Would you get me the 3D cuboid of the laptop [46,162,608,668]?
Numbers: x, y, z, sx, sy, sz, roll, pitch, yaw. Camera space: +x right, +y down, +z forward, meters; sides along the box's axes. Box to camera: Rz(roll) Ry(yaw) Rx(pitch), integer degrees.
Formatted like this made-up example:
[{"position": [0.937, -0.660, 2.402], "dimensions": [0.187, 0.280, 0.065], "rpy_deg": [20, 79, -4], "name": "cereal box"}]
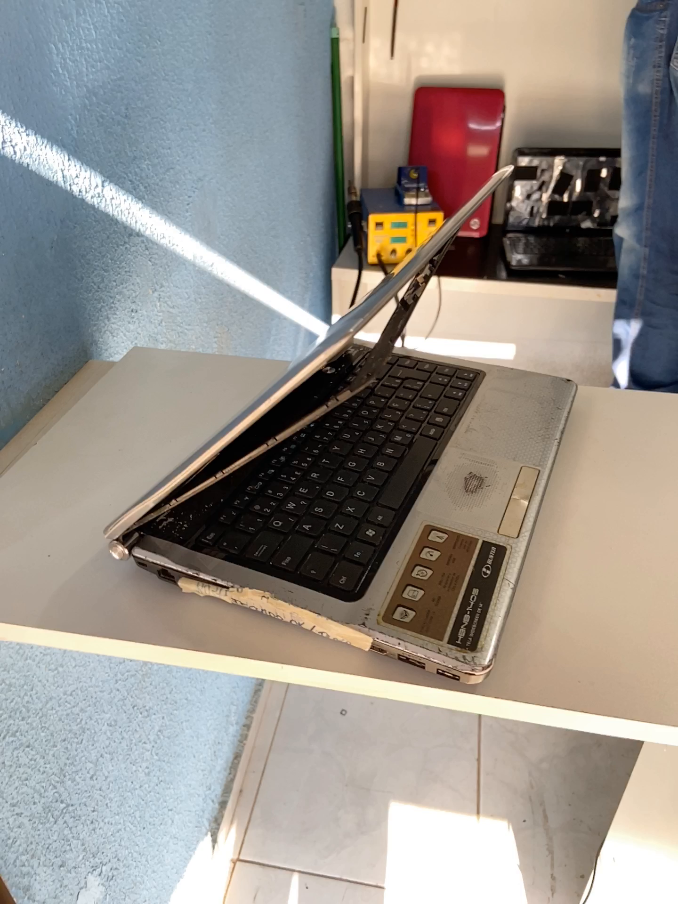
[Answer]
[{"position": [0.029, -0.068, 0.473], "dimensions": [0.232, 0.160, 0.327], "rpy_deg": [14, 36, 20], "name": "laptop"}]
